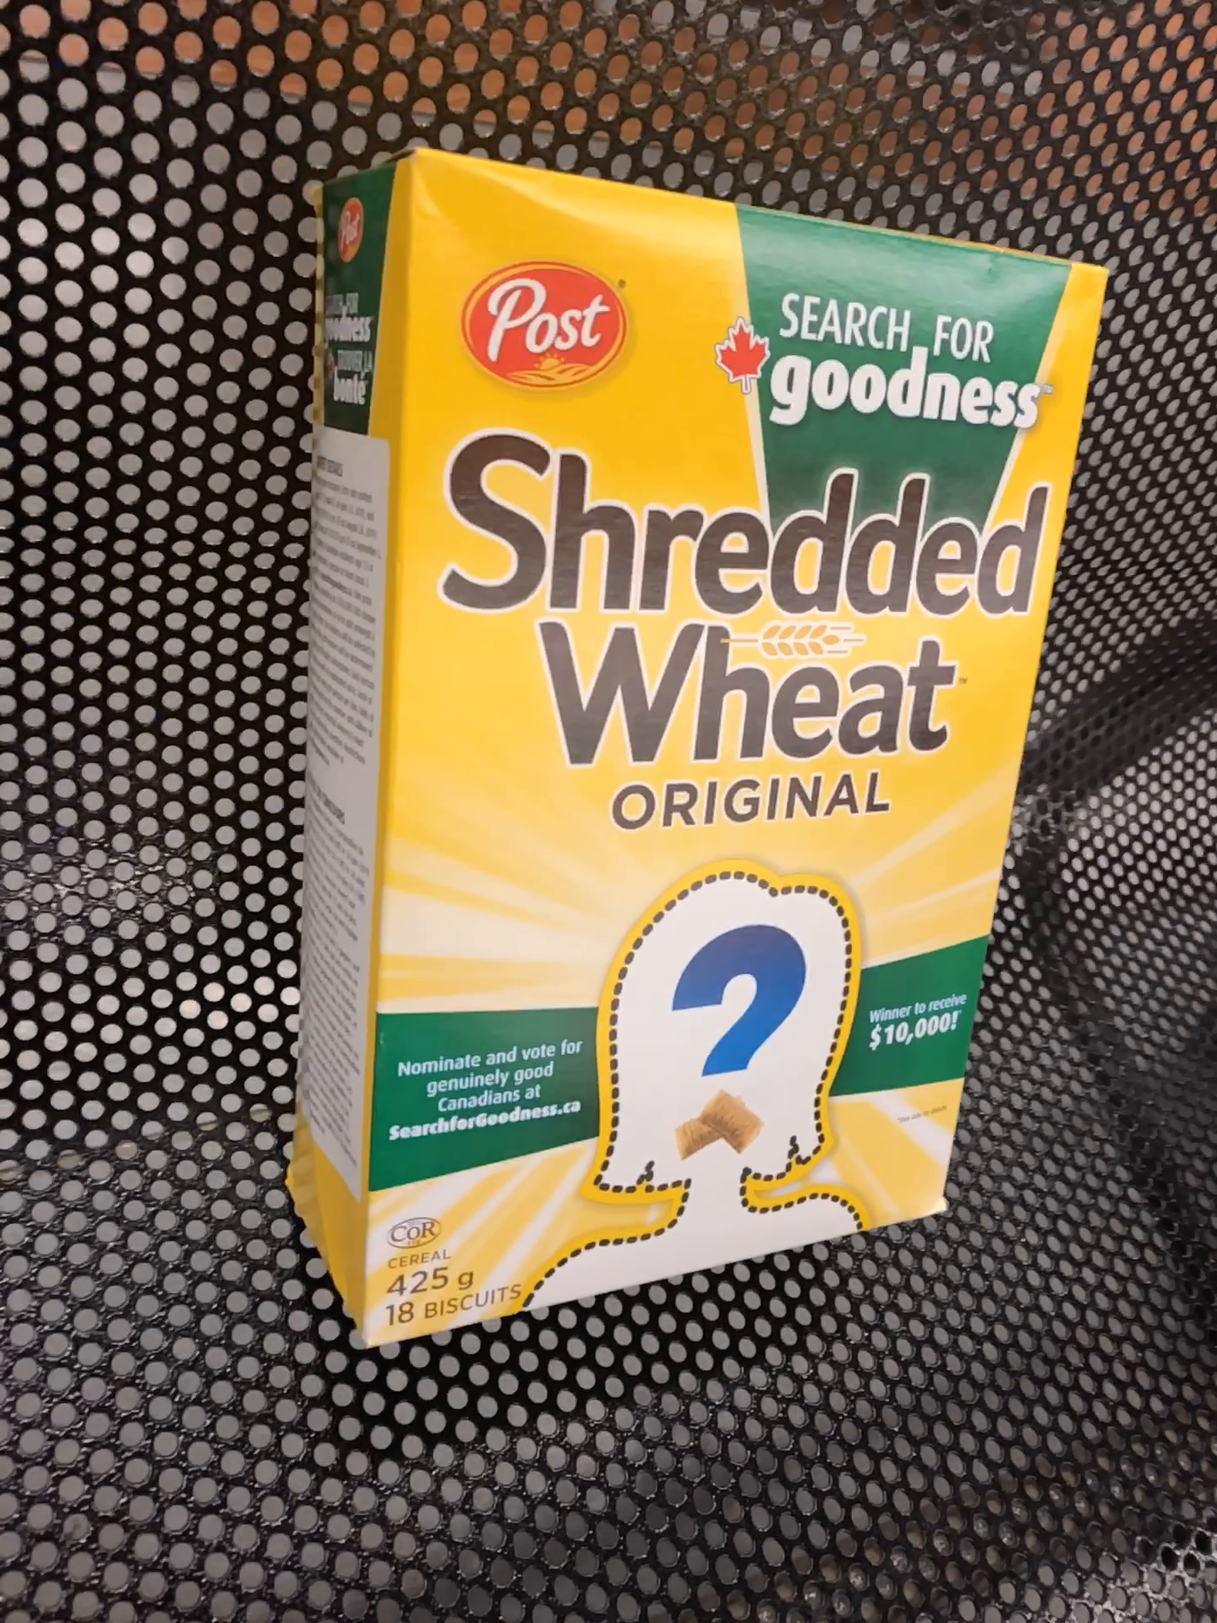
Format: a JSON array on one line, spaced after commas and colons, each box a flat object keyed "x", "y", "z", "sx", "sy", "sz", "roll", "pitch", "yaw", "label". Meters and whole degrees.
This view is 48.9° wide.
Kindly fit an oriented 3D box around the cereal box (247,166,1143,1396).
[{"x": 0.014, "y": -0.009, "z": 0.378, "sx": 0.210, "sy": 0.279, "sz": 0.090, "roll": -4, "pitch": 19, "yaw": -27, "label": "cereal box"}]
